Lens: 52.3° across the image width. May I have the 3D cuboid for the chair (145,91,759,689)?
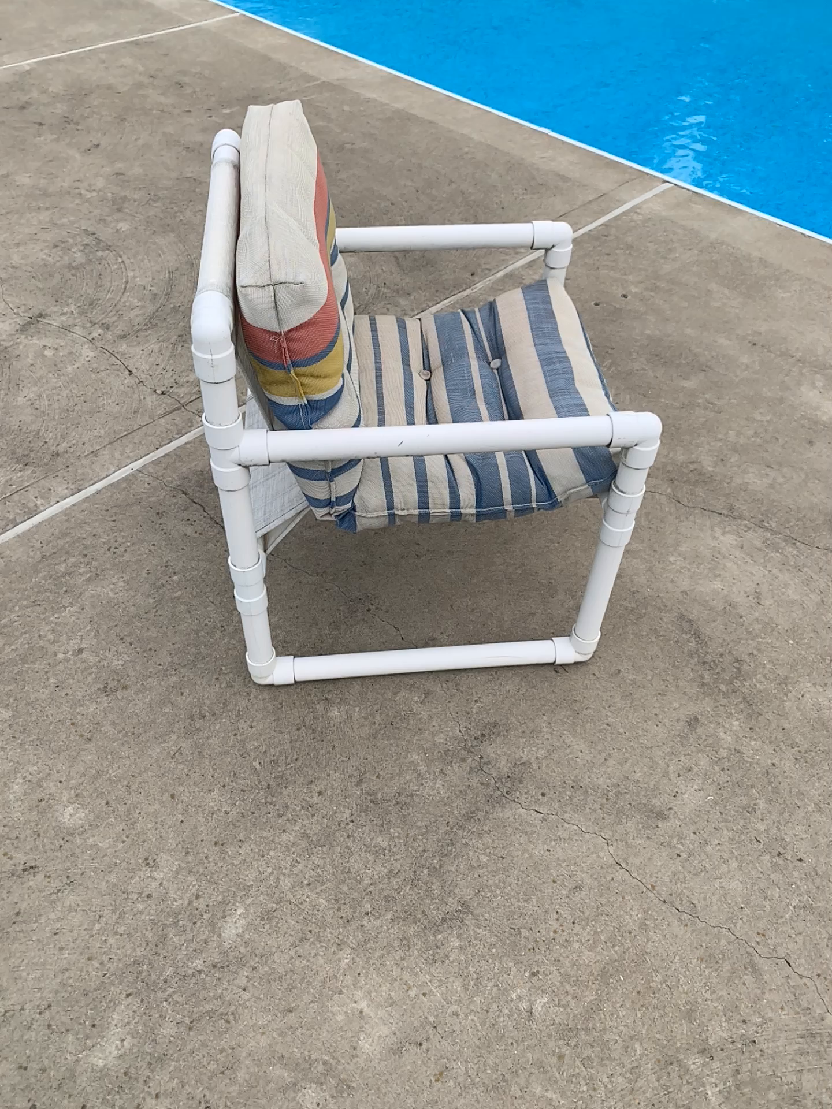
[{"bbox_3d":[0.005,-0.264,1.388,0.670,0.687,0.653,-2,47,-6],"label":"chair"}]
